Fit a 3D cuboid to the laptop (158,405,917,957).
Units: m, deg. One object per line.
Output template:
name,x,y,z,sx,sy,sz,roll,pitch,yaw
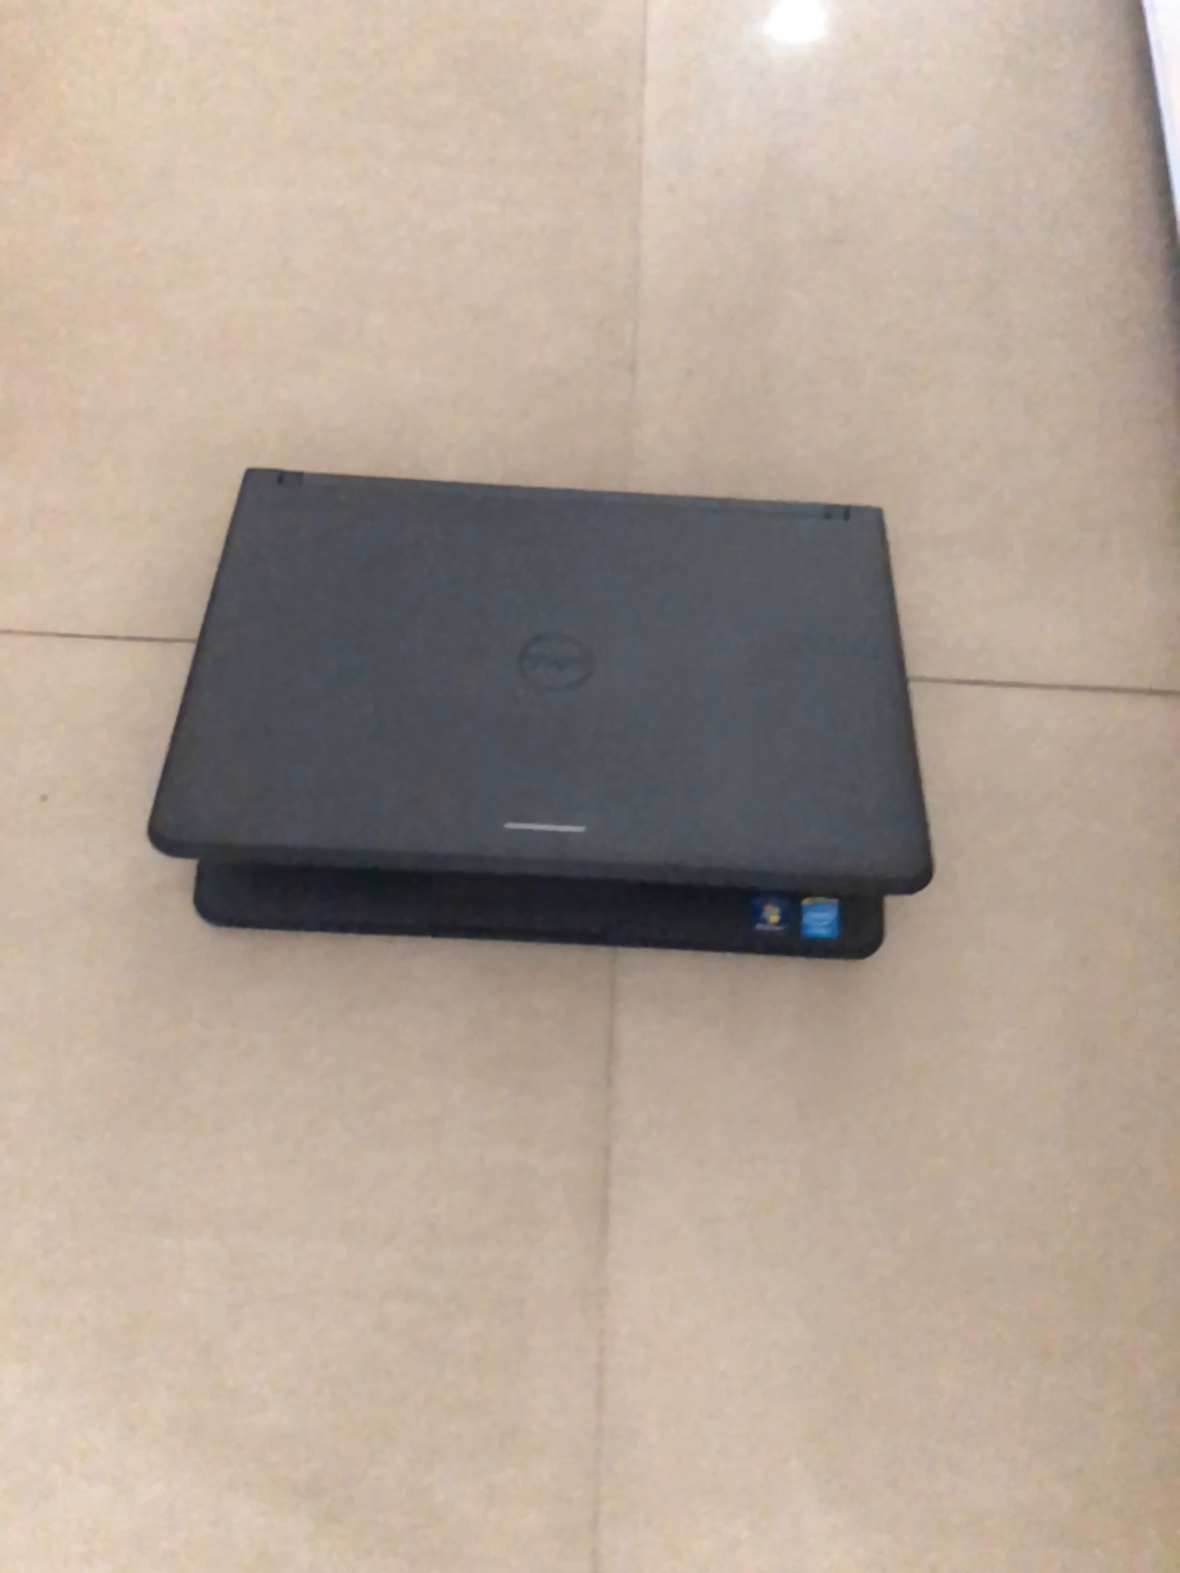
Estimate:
laptop,-0.016,-0.047,0.593,0.314,0.064,0.220,3,77,0
